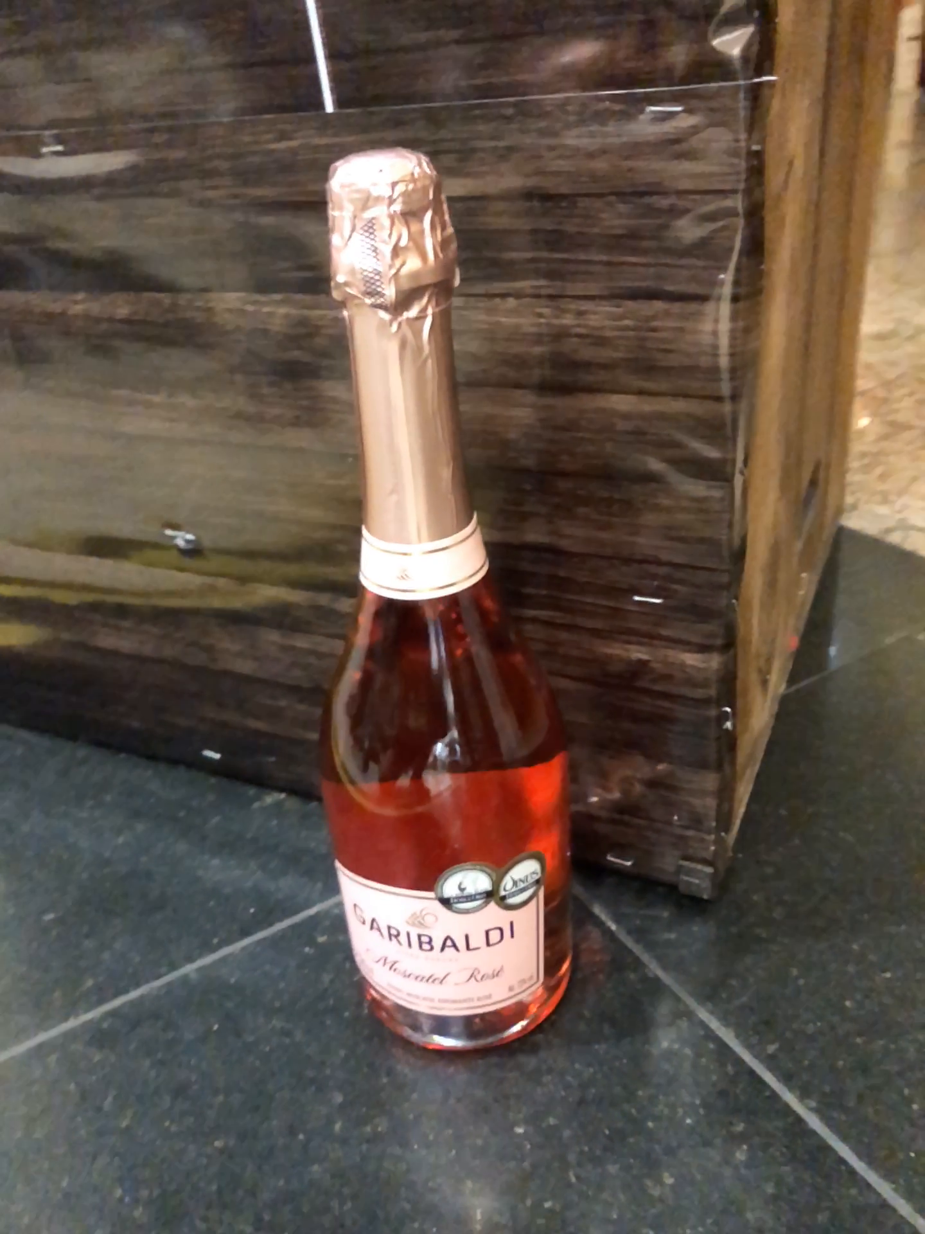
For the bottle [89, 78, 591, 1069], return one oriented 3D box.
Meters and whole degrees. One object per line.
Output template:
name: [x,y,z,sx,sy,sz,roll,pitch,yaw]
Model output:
bottle: [-0.019,-0.001,0.376,0.110,0.337,0.101,-4,28,2]
